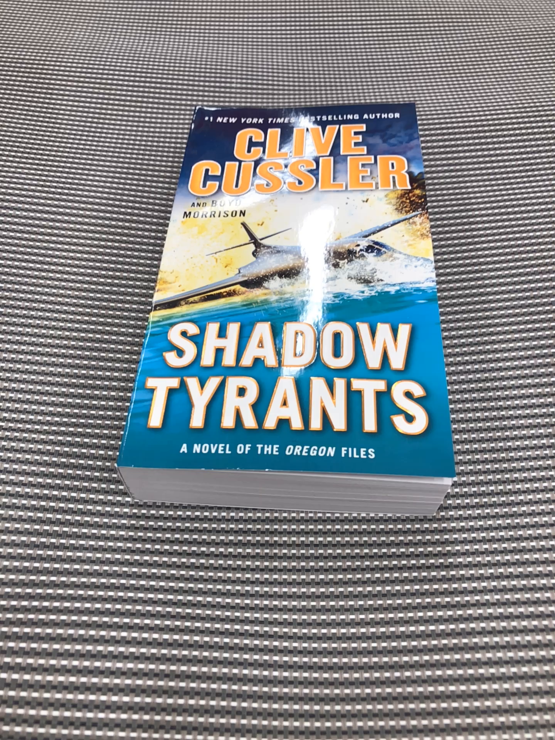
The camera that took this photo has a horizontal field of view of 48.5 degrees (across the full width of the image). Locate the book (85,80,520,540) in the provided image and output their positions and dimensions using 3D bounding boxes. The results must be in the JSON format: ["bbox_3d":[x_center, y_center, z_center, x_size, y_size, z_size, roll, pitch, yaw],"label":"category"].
[{"bbox_3d":[0.013,-0.035,0.245,0.120,0.060,0.181,3,56,4],"label":"book"}]
